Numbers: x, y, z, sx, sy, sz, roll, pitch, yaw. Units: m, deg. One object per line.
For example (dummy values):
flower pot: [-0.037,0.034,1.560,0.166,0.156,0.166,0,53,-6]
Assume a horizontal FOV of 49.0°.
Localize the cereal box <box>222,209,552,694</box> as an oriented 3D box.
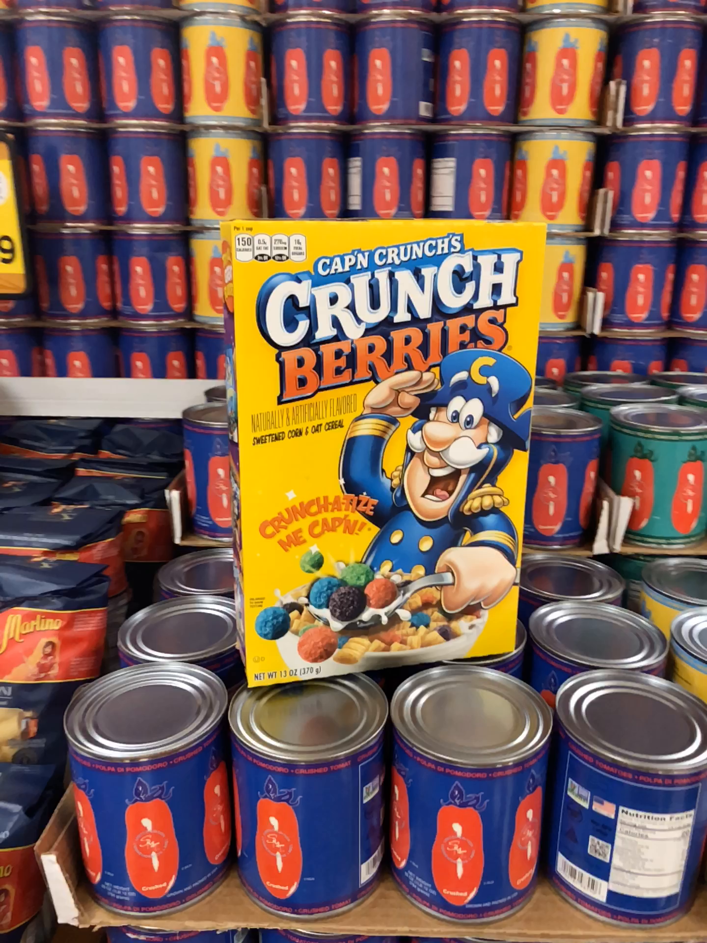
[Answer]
cereal box: [0.018,-0.014,0.513,0.190,0.298,0.060,-4,17,-14]
